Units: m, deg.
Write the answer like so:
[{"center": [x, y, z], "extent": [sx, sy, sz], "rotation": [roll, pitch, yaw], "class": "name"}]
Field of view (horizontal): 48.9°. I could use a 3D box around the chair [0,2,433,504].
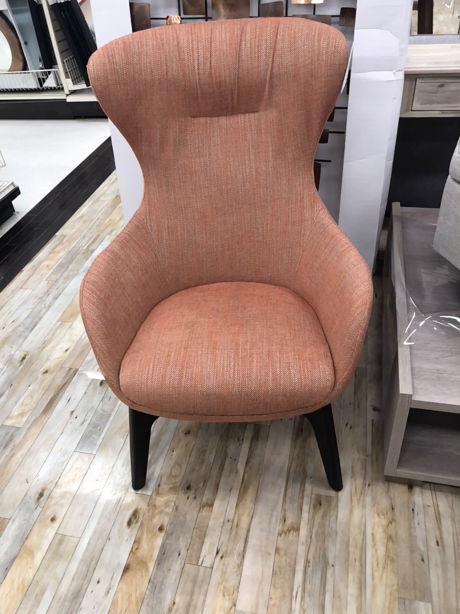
[{"center": [-0.003, -0.117, 1.350], "extent": [0.690, 1.065, 0.753], "rotation": [-2, 37, 5], "class": "chair"}]
